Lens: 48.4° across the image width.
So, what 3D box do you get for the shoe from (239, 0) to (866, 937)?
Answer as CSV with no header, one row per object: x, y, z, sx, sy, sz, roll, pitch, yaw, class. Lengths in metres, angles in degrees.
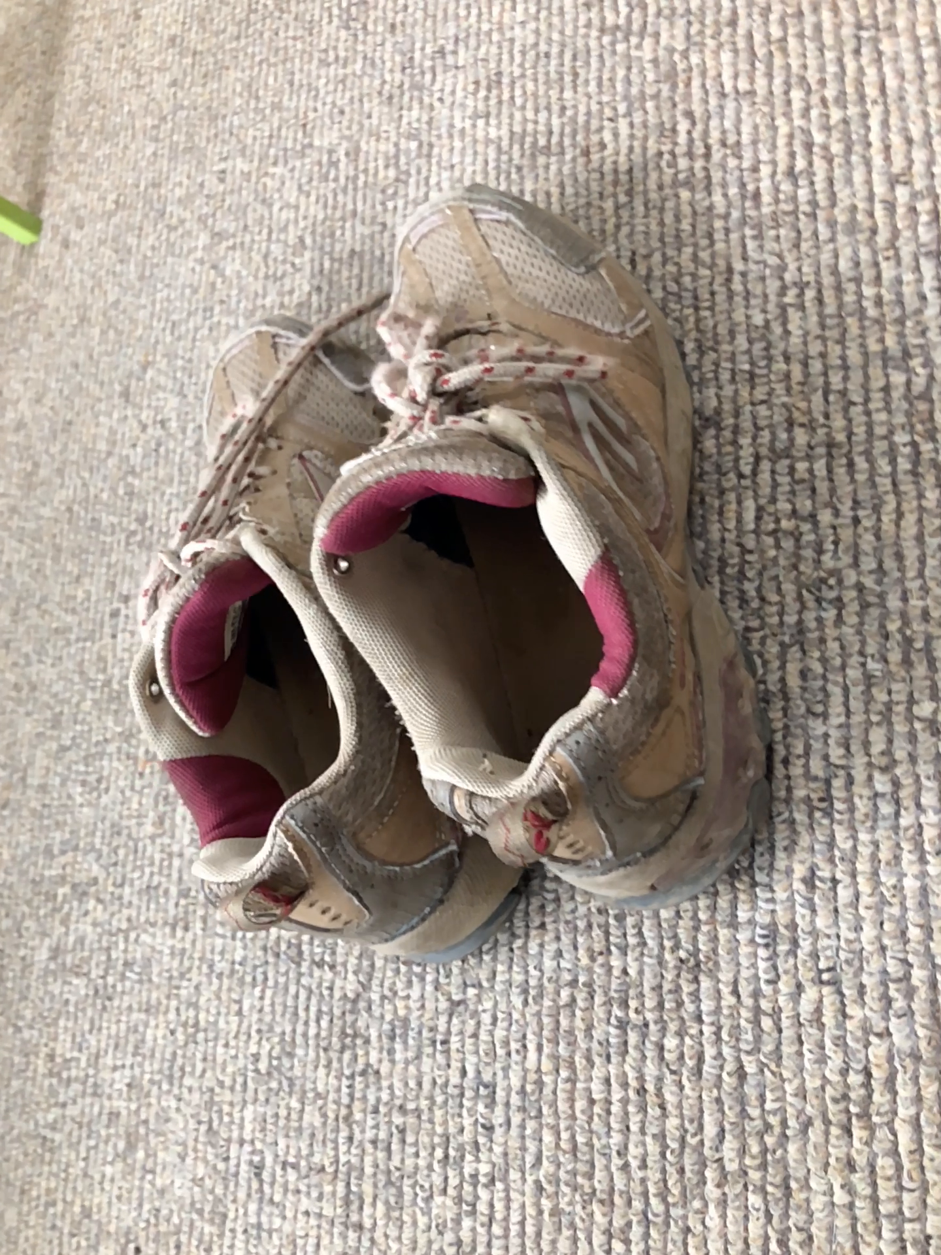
0.020,-0.046,0.359,0.112,0.123,0.272,-24,65,26,shoe

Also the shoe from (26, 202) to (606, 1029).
-0.069,-0.006,0.403,0.110,0.119,0.271,-32,61,23,shoe
